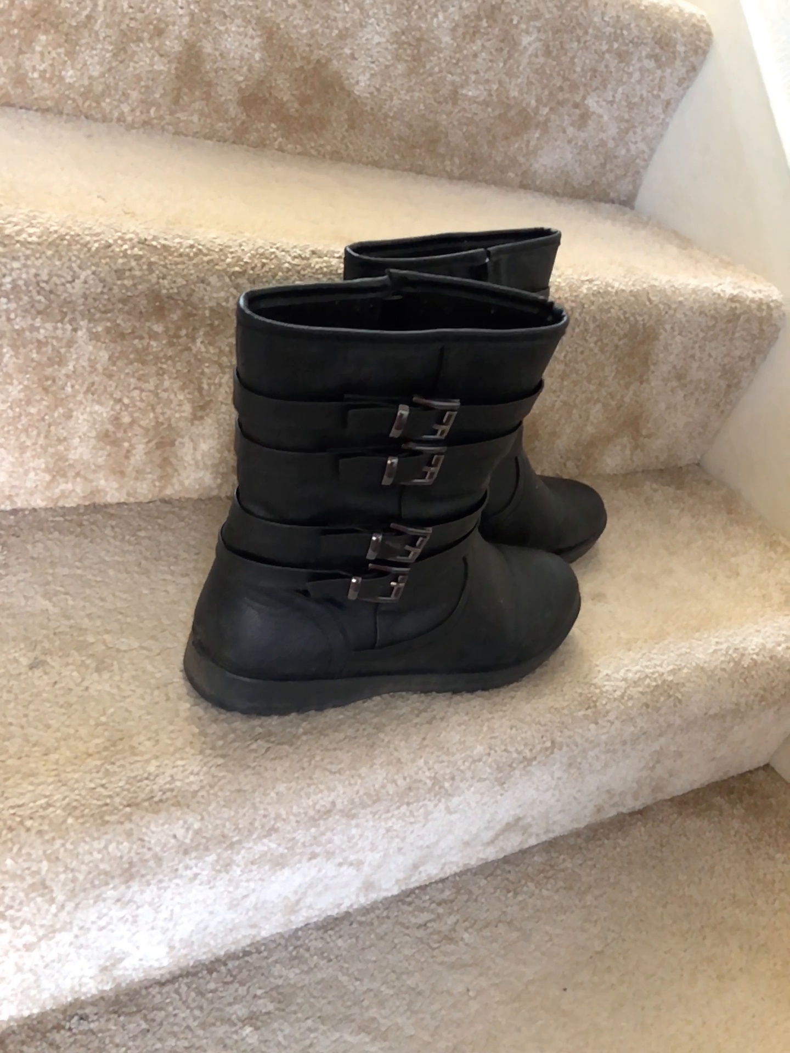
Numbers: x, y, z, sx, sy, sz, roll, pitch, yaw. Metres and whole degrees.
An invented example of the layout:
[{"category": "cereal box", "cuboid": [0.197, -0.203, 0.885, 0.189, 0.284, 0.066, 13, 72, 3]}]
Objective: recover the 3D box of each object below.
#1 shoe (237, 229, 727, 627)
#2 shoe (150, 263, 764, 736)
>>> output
[{"category": "shoe", "cuboid": [0.048, -0.067, 0.587, 0.271, 0.218, 0.101, -6, 38, -25]}, {"category": "shoe", "cuboid": [0.026, -0.012, 0.472, 0.270, 0.199, 0.101, -1, 36, -28]}]
